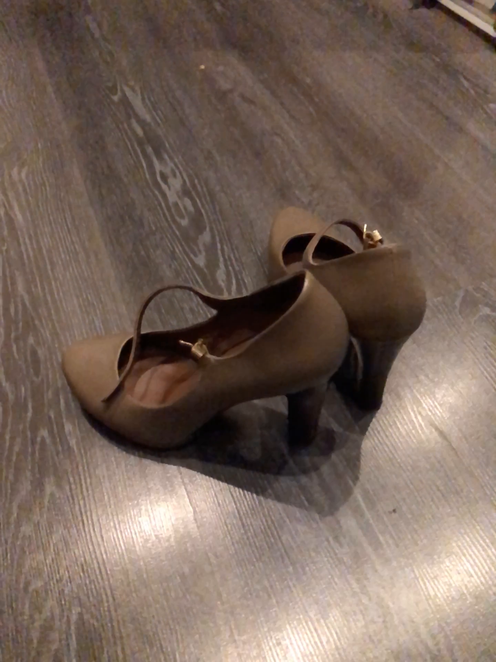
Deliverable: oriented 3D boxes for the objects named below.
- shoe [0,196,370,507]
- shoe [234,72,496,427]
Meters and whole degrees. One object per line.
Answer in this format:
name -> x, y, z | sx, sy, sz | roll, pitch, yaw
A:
shoe -> -0.043, 0.016, 0.356 | 0.210, 0.149, 0.090 | 12, 54, 12
shoe -> 0.069, -0.065, 0.415 | 0.090, 0.149, 0.211 | -16, 53, -9
